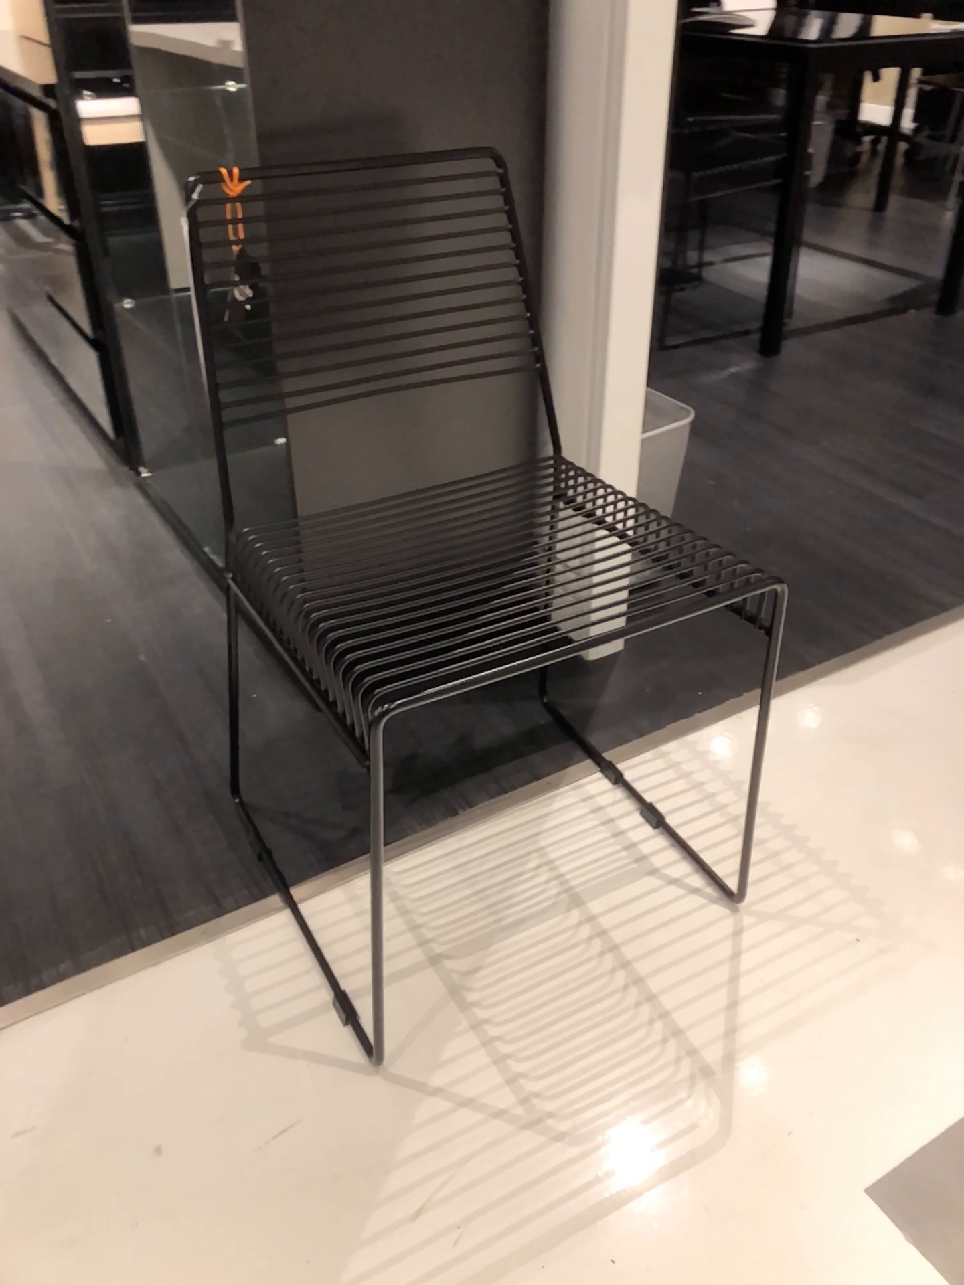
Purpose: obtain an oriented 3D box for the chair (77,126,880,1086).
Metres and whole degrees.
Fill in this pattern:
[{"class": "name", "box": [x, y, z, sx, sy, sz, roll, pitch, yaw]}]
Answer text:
[{"class": "chair", "box": [-0.031, -0.074, 1.125, 0.521, 0.764, 0.503, -17, 37, -23]}]
